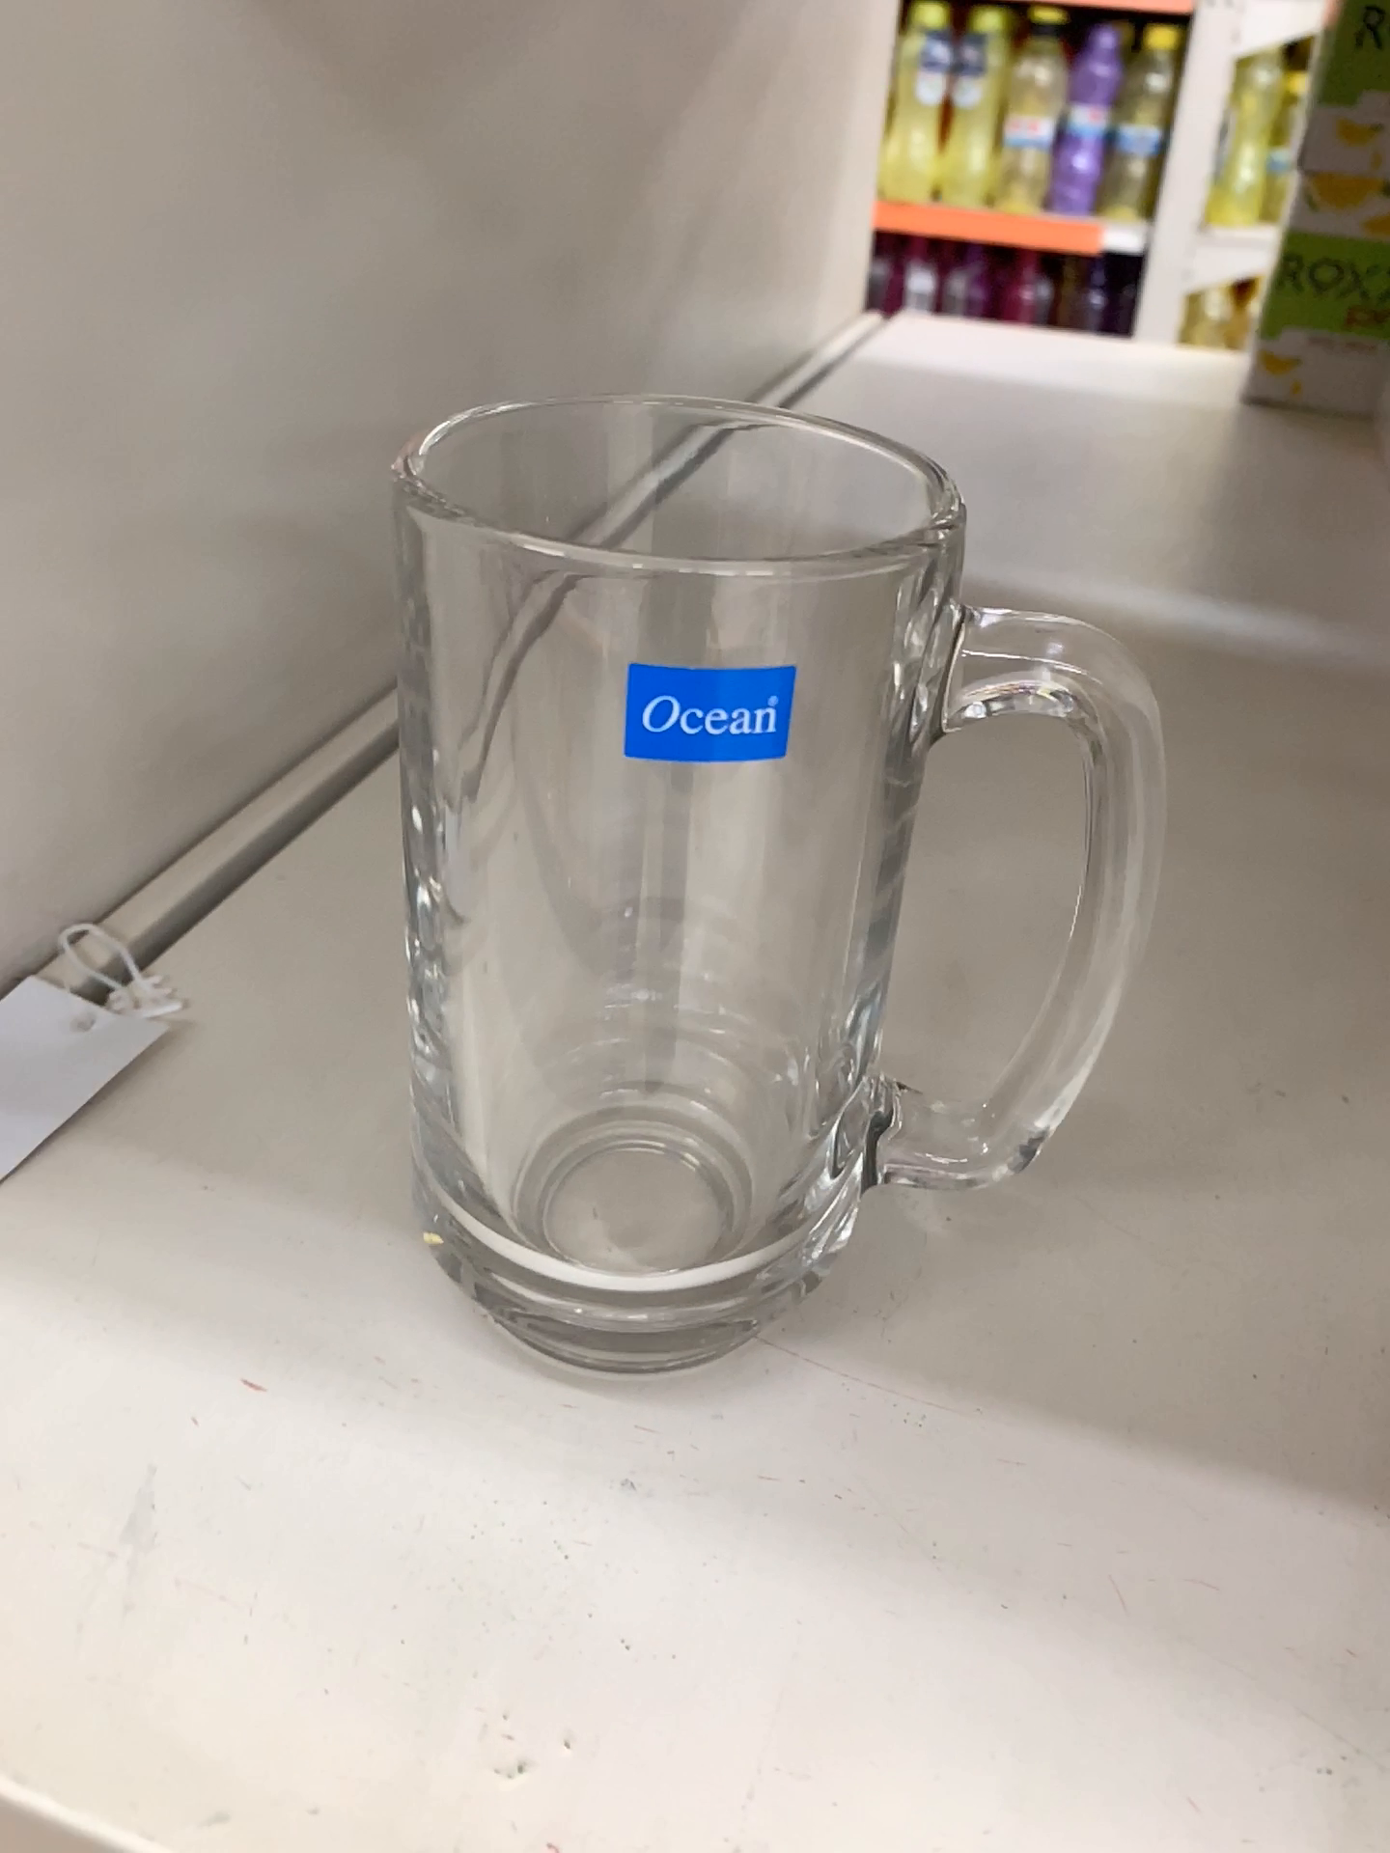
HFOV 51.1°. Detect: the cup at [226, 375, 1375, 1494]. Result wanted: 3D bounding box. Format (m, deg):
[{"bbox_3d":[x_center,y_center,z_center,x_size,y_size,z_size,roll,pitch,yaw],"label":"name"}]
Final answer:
[{"bbox_3d":[0.012,-0.001,0.219,0.120,0.129,0.081,8,33,8],"label":"cup"}]
